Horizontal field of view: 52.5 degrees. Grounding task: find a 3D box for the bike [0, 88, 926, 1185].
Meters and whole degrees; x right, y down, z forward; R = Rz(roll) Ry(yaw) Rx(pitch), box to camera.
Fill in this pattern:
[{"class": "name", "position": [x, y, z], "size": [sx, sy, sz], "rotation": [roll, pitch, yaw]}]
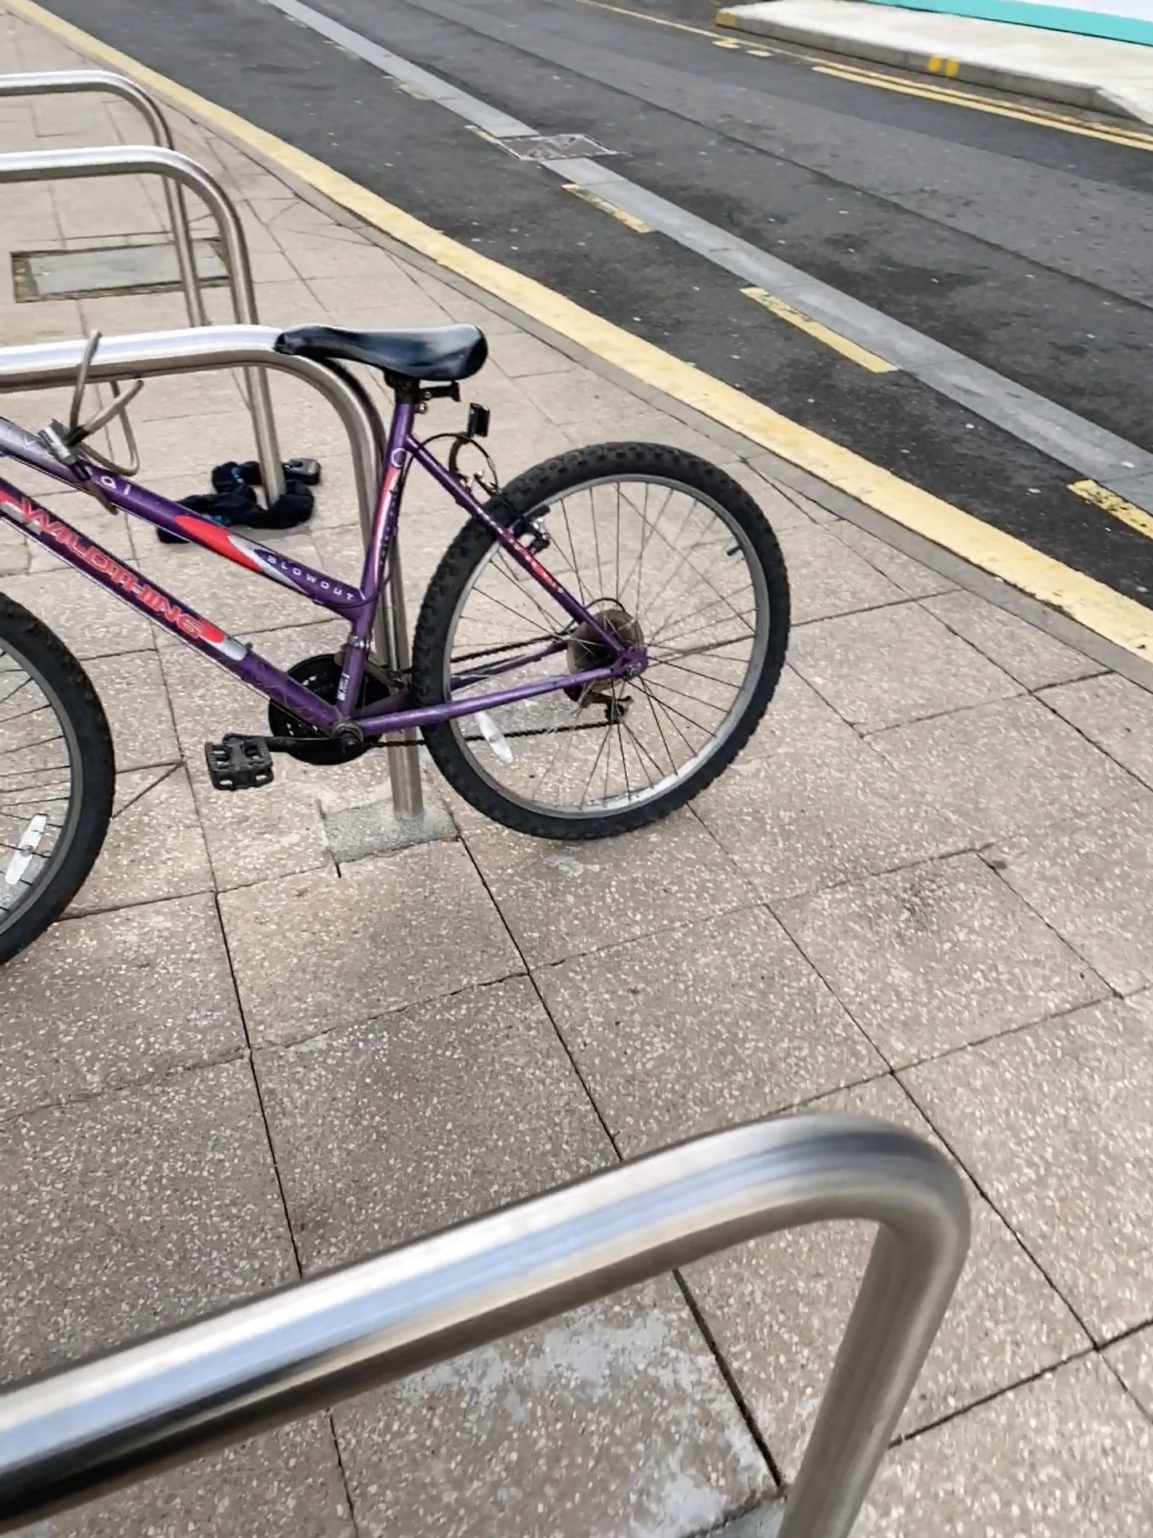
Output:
[{"class": "bike", "position": [-0.473, -0.282, 1.621], "size": [1.735, 1.043, 0.583], "rotation": [-15, 41, -21]}]
